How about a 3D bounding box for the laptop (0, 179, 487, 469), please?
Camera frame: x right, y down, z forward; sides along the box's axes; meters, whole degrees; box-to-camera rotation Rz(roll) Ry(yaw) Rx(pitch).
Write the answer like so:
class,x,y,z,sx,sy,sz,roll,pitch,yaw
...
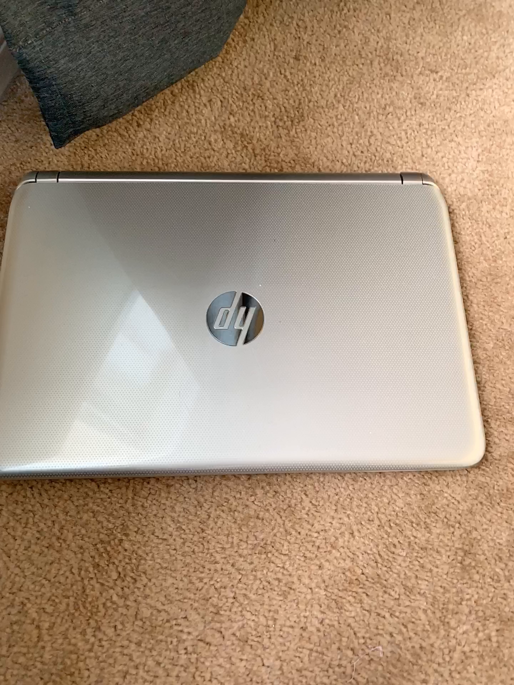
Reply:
class,x,y,z,sx,sy,sz,roll,pitch,yaw
laptop,-0.016,-0.023,0.383,0.328,0.002,0.223,0,70,-2
